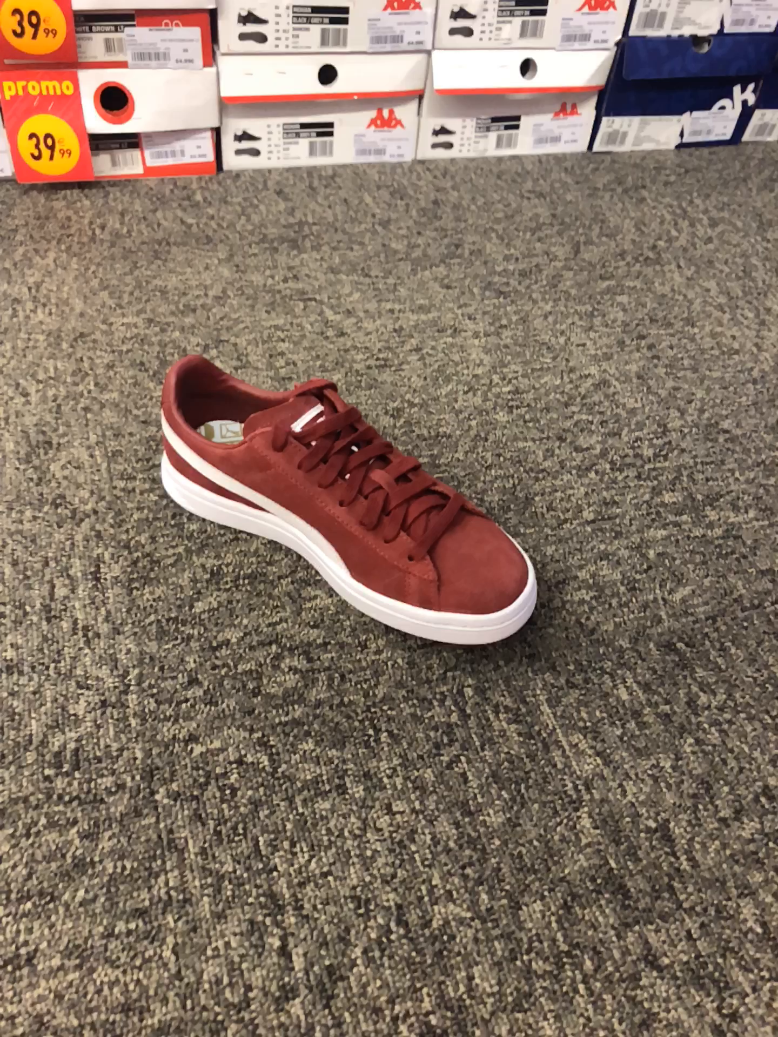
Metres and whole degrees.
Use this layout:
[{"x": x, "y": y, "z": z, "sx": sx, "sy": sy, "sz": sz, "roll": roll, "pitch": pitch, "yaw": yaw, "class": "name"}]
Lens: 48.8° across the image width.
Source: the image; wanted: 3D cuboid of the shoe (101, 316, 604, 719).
[{"x": -0.025, "y": -0.011, "z": 0.475, "sx": 0.250, "sy": 0.080, "sz": 0.101, "roll": 28, "pitch": 49, "yaw": 19, "class": "shoe"}]
